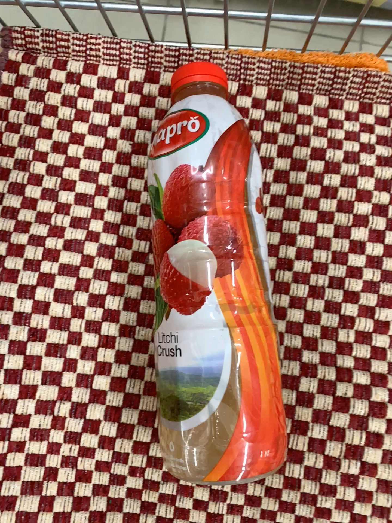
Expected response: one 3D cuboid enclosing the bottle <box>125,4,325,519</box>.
[{"bbox_3d":[0.015,-0.002,0.240,0.080,0.070,0.240,2,83,-42],"label":"bottle"}]
